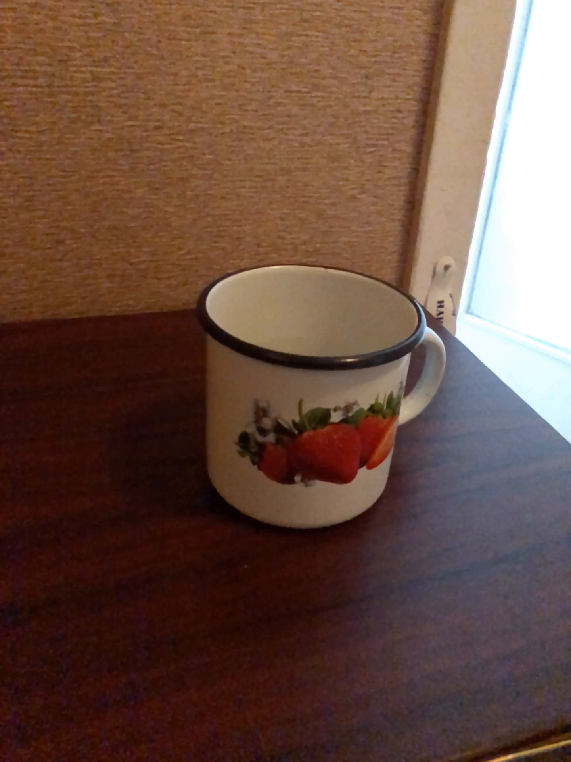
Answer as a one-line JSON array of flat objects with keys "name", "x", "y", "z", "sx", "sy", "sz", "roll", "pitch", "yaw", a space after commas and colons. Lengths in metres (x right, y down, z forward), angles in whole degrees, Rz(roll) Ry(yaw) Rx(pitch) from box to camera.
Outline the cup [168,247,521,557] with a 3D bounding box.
[{"name": "cup", "x": 0.024, "y": 0.001, "z": 0.368, "sx": 0.155, "sy": 0.113, "sz": 0.119, "roll": -9, "pitch": 32, "yaw": -19}]
